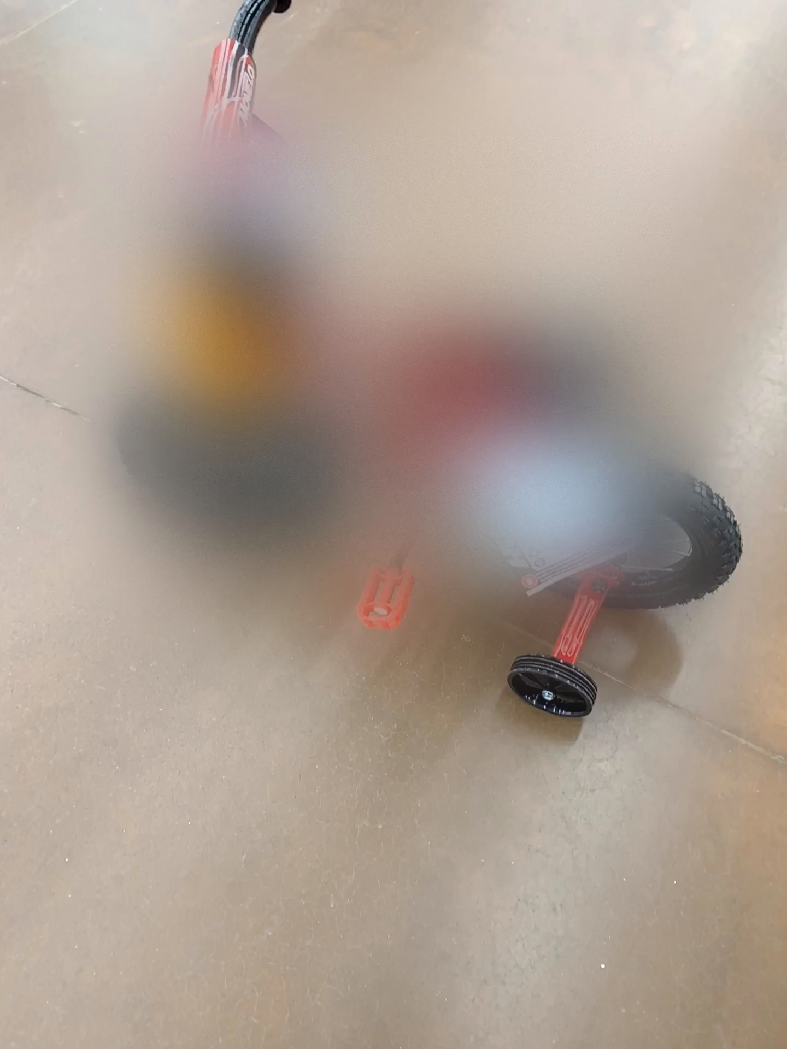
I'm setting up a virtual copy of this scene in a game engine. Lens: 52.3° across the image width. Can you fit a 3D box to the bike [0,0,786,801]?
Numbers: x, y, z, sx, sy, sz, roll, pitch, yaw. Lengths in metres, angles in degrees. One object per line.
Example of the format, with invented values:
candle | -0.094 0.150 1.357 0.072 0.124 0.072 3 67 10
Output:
bike | 0.003 -0.142 0.750 0.735 0.605 0.440 13 57 9
